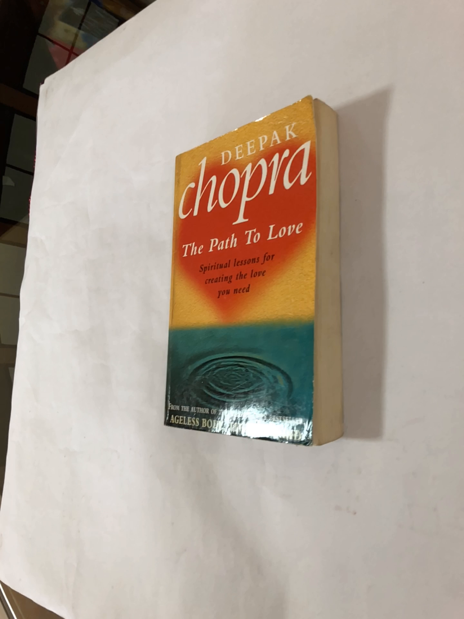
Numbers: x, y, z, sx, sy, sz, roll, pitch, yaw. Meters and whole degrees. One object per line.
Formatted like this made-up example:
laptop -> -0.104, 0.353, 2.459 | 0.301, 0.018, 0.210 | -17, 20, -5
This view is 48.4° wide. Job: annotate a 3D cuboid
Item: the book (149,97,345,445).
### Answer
book -> 0.007, -0.019, 0.348 | 0.131, 0.040, 0.200 | -5, 79, 42
